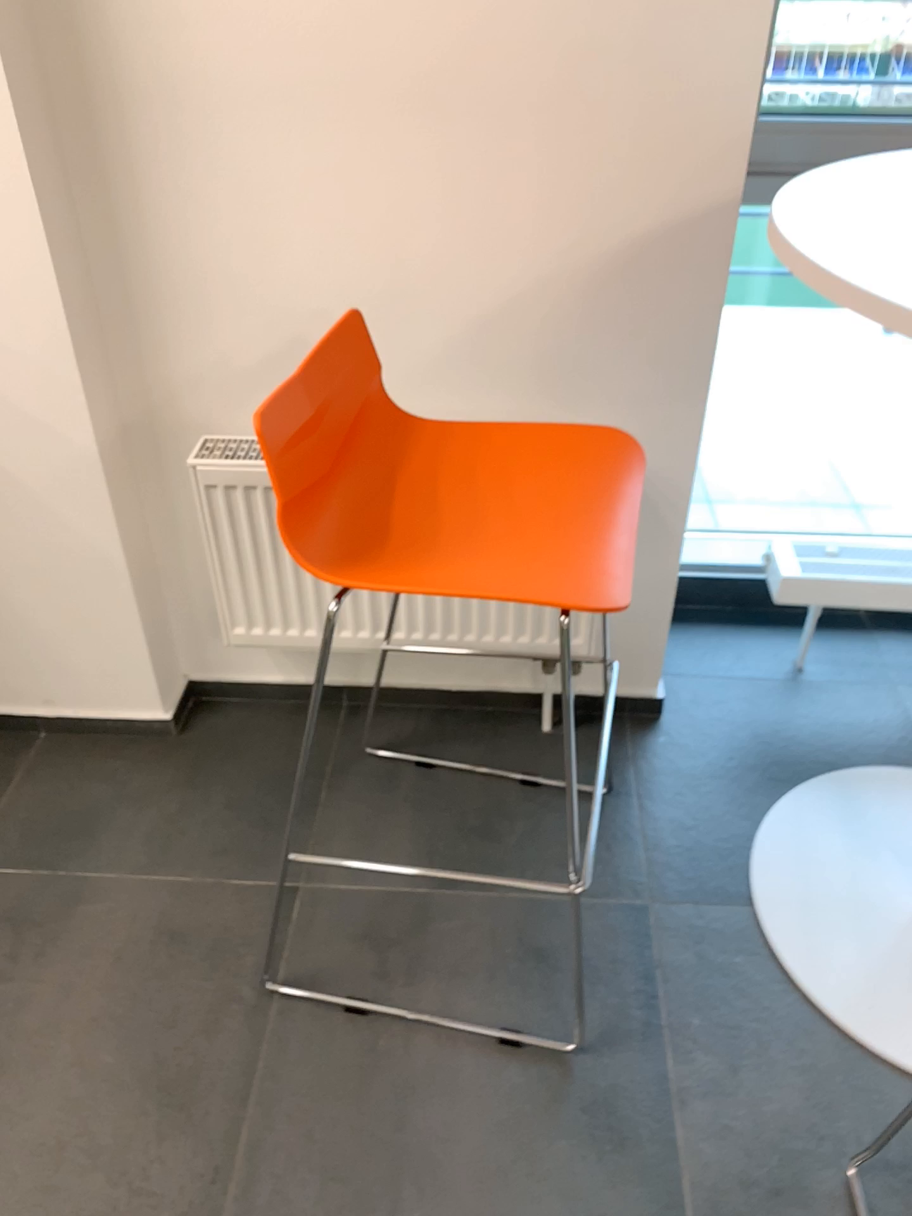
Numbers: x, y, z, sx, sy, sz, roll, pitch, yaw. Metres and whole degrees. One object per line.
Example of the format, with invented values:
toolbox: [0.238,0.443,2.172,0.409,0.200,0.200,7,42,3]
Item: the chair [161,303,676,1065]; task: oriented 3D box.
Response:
chair: [0.002,0.110,1.390,0.500,0.905,0.573,7,36,9]
